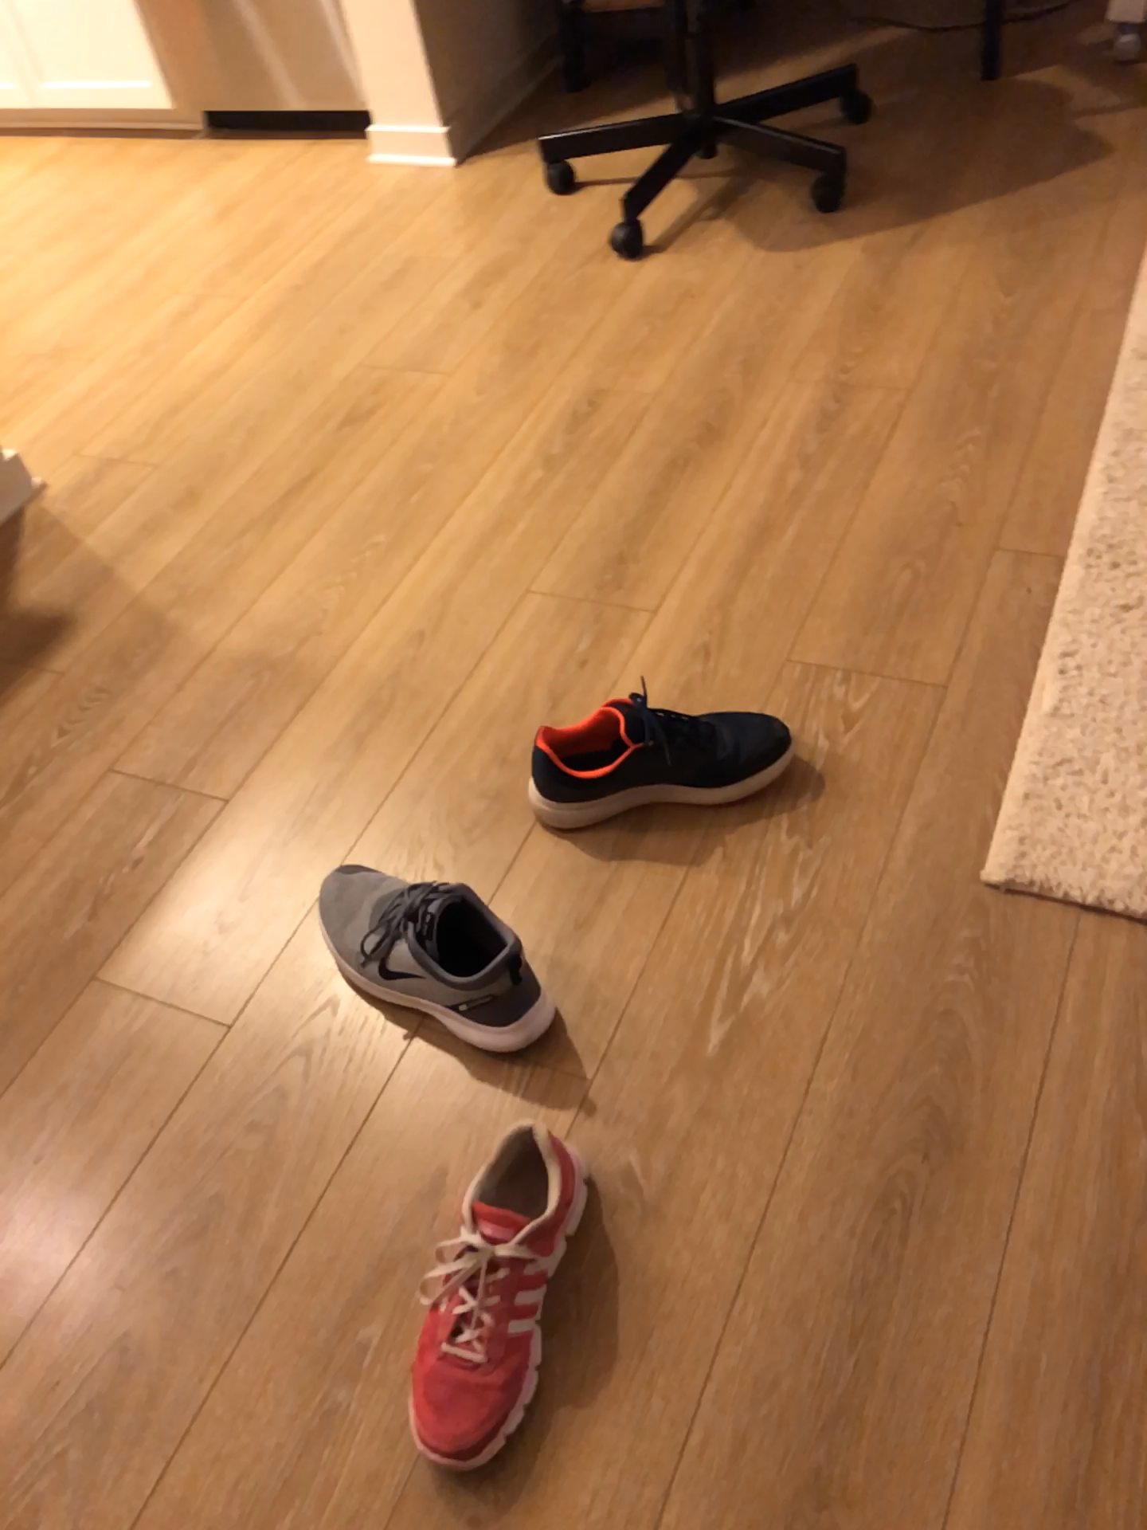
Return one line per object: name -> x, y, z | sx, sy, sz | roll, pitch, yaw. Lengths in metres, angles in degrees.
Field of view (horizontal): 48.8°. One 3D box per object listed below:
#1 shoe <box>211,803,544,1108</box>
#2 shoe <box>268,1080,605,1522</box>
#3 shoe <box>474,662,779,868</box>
shoe -> -0.193, 0.177, 1.232 | 0.307, 0.109, 0.130 | 28, 58, 33
shoe -> -0.097, 0.413, 1.006 | 0.140, 0.089, 0.281 | 11, 51, 22
shoe -> 0.055, -0.001, 1.358 | 0.300, 0.099, 0.131 | -12, 46, 2
